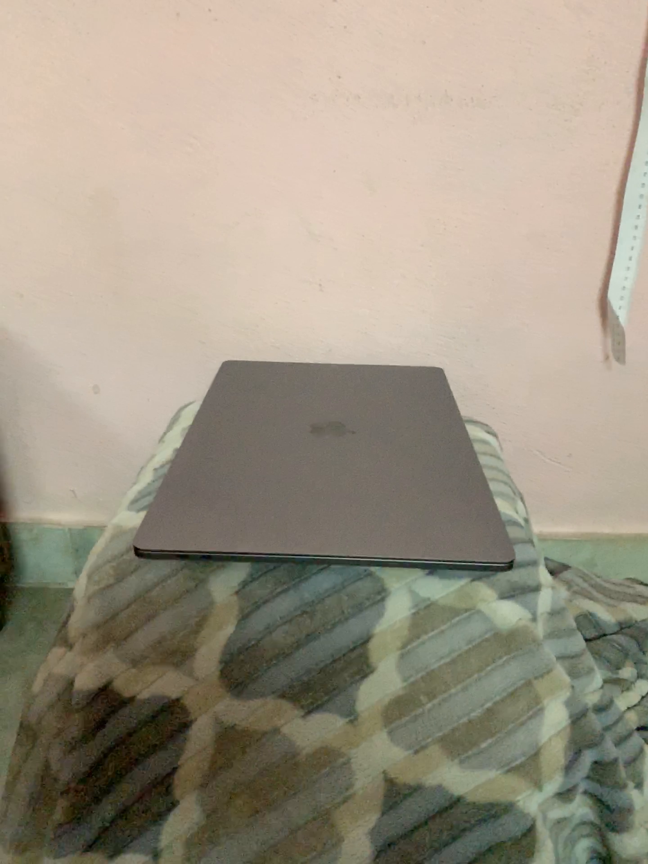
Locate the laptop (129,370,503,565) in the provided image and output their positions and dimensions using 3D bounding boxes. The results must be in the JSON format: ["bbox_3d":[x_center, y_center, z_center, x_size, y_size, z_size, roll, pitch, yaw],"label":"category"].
[{"bbox_3d":[-0.003,0.008,0.551,0.228,0.002,0.327,0,26,2],"label":"laptop"}]
